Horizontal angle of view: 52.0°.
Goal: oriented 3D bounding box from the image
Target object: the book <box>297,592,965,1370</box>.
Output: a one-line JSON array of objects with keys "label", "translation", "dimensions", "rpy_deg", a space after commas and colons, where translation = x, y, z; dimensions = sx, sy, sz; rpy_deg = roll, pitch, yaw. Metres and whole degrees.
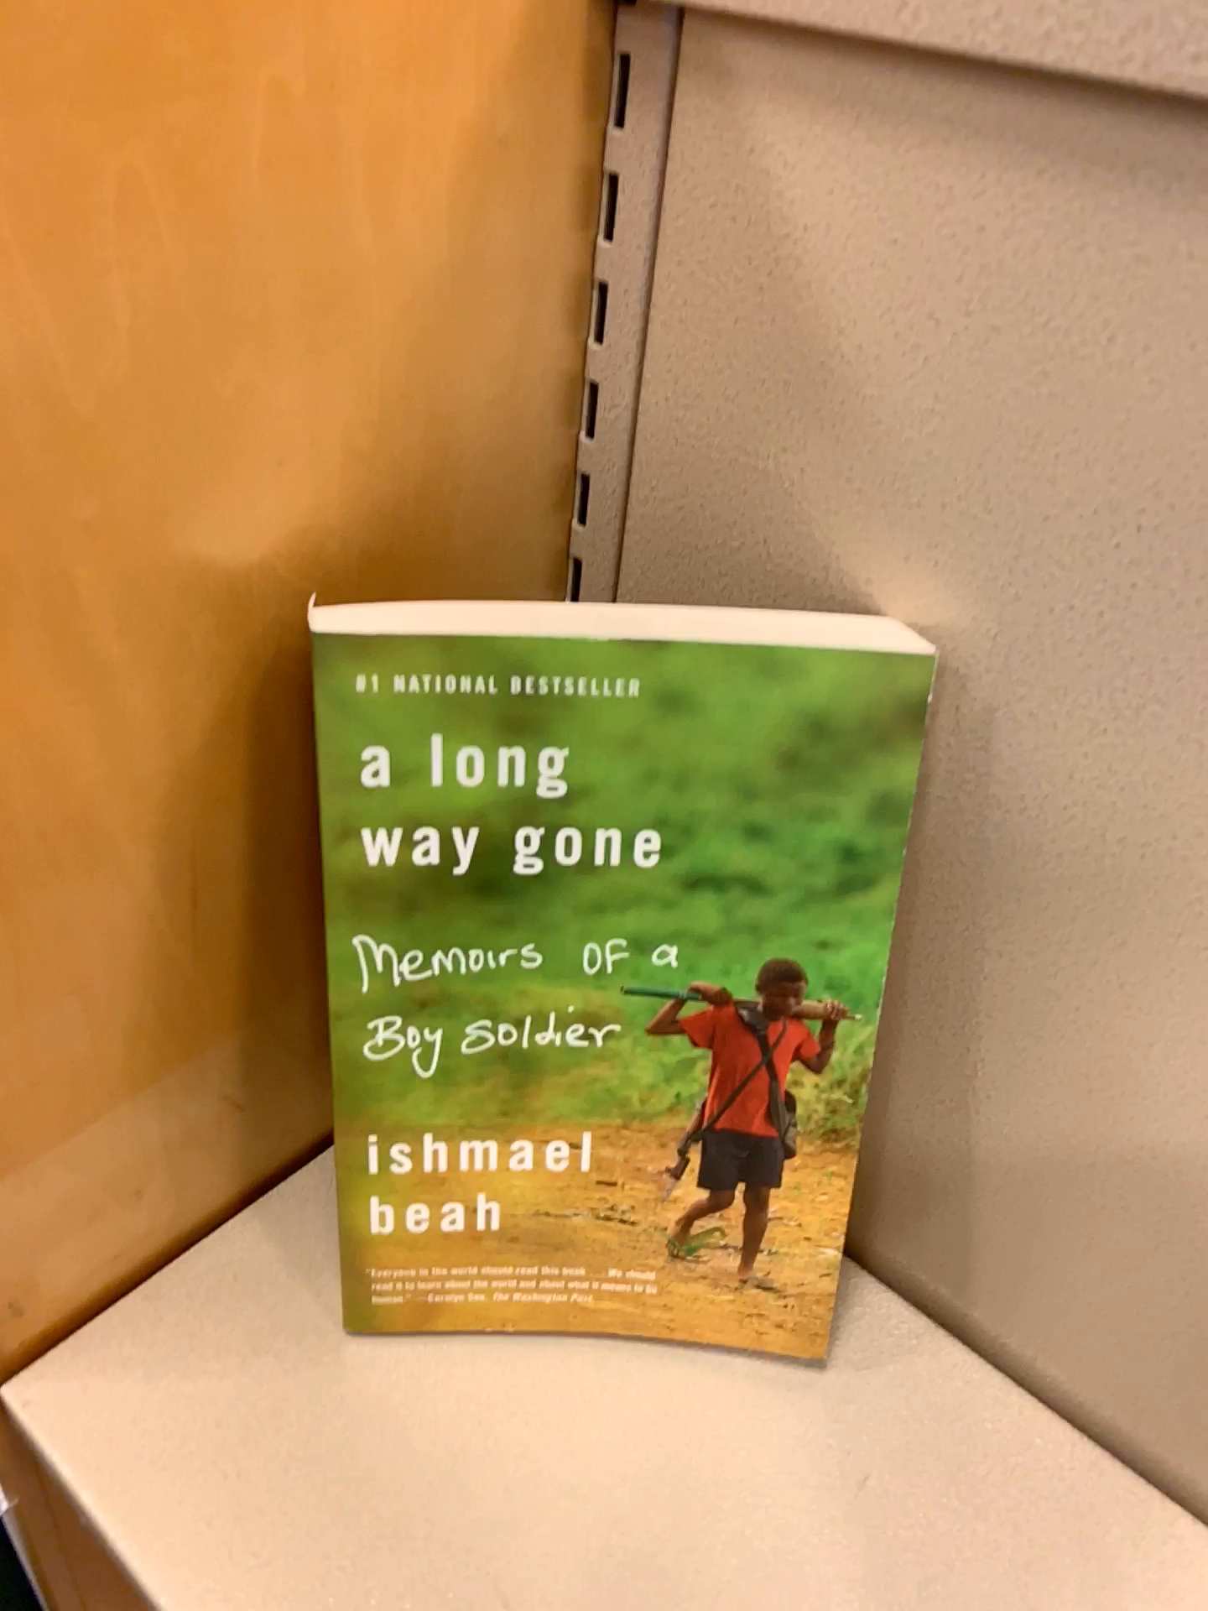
[{"label": "book", "translation": [0.000, 0.055, 0.313], "dimensions": [0.140, 0.209, 0.020], "rpy_deg": [4, 25, 0]}]
